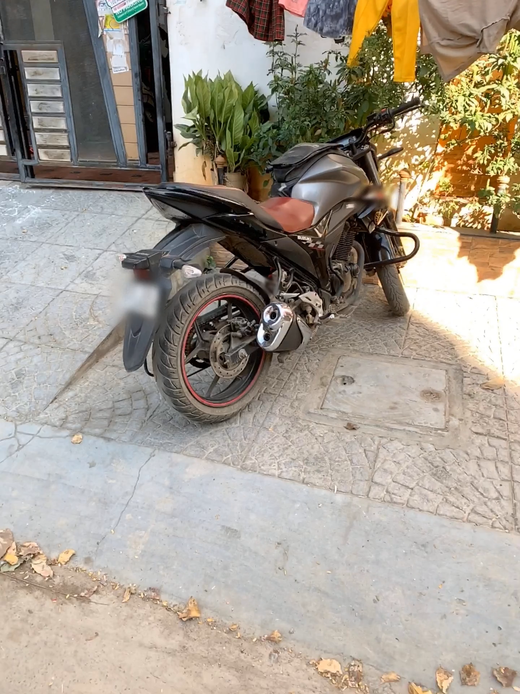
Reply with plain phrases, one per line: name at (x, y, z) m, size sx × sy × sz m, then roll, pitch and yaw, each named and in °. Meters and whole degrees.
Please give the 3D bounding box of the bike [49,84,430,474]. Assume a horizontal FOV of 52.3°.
bike at (0.040, -0.523, 2.390) m, size 0.810 × 1.140 × 1.628 m, roll 18°, pitch 32°, yaw 31°
